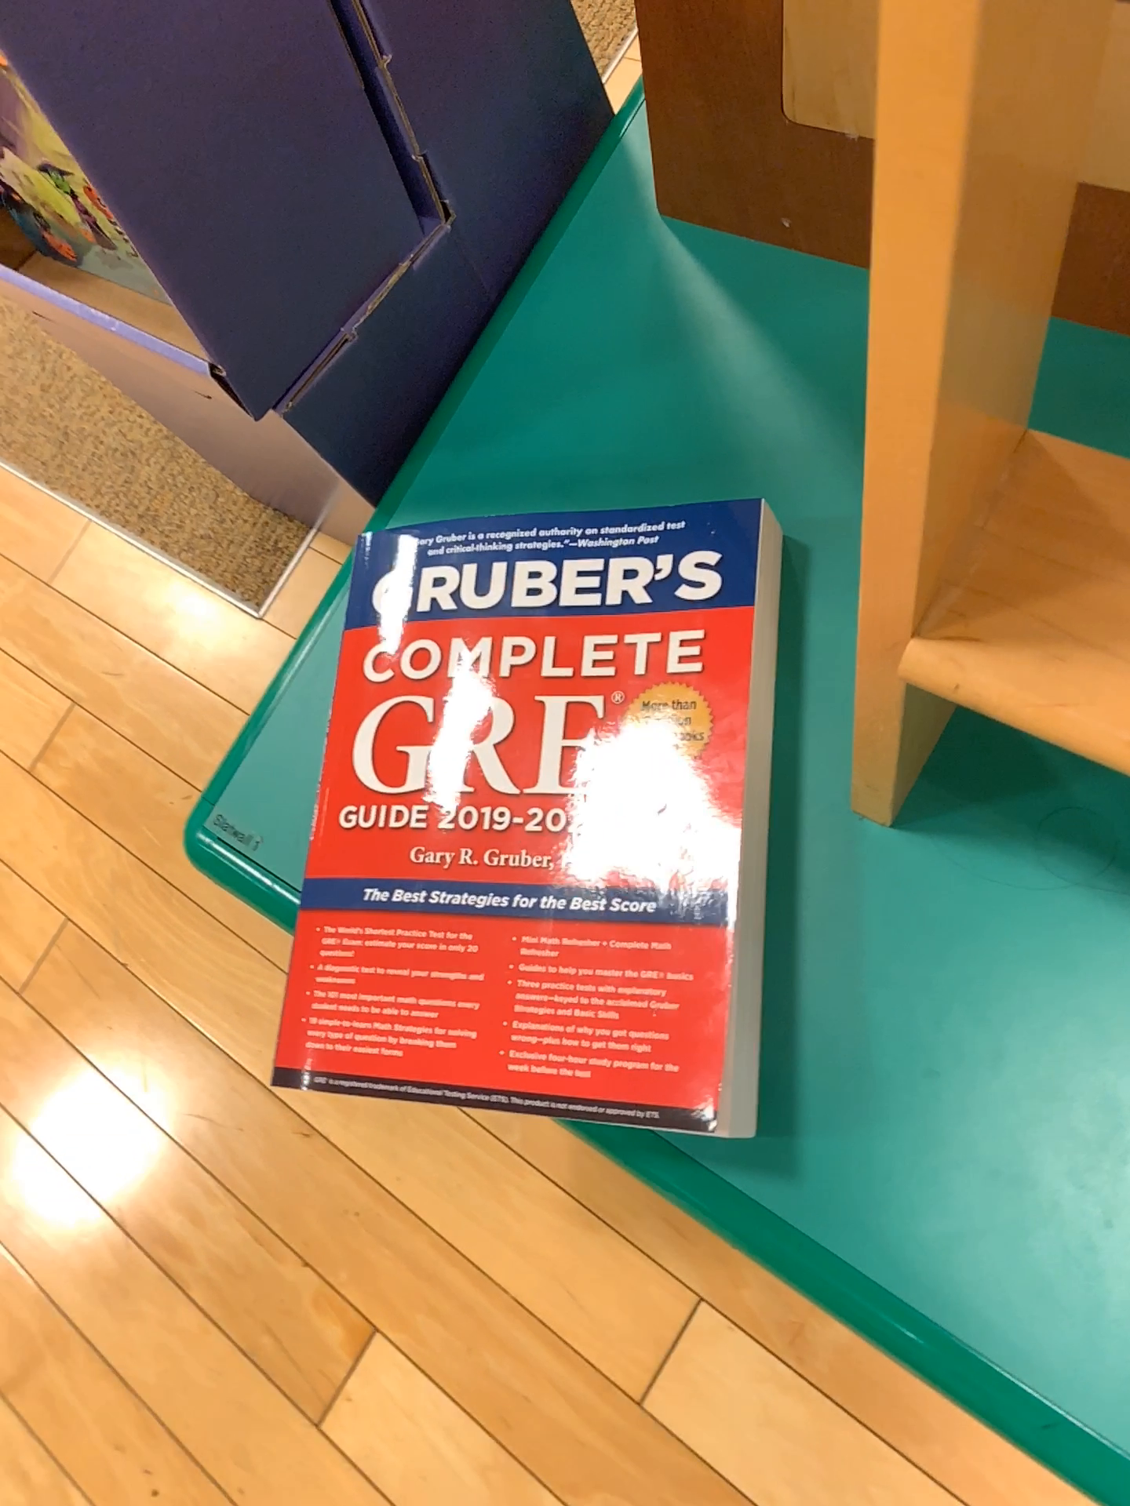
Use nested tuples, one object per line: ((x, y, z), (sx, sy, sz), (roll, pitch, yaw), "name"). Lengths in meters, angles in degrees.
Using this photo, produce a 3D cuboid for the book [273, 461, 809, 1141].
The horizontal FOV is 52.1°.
((-0.007, 0.015, 0.535), (0.220, 0.040, 0.290), (-1, 73, 21), "book")
